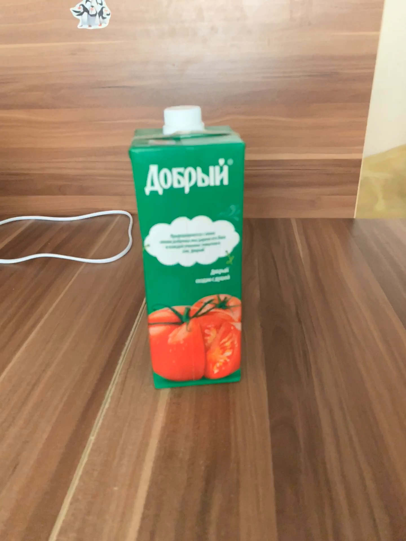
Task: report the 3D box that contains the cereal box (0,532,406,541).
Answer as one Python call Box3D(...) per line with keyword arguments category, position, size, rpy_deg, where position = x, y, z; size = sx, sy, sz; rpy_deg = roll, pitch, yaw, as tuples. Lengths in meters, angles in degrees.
Box3D(category="cereal box", position=(-0.057, 0.755, 0.118), size=(0.591, 0.836, 0.612), rpy_deg=(-19, 33, -29))
